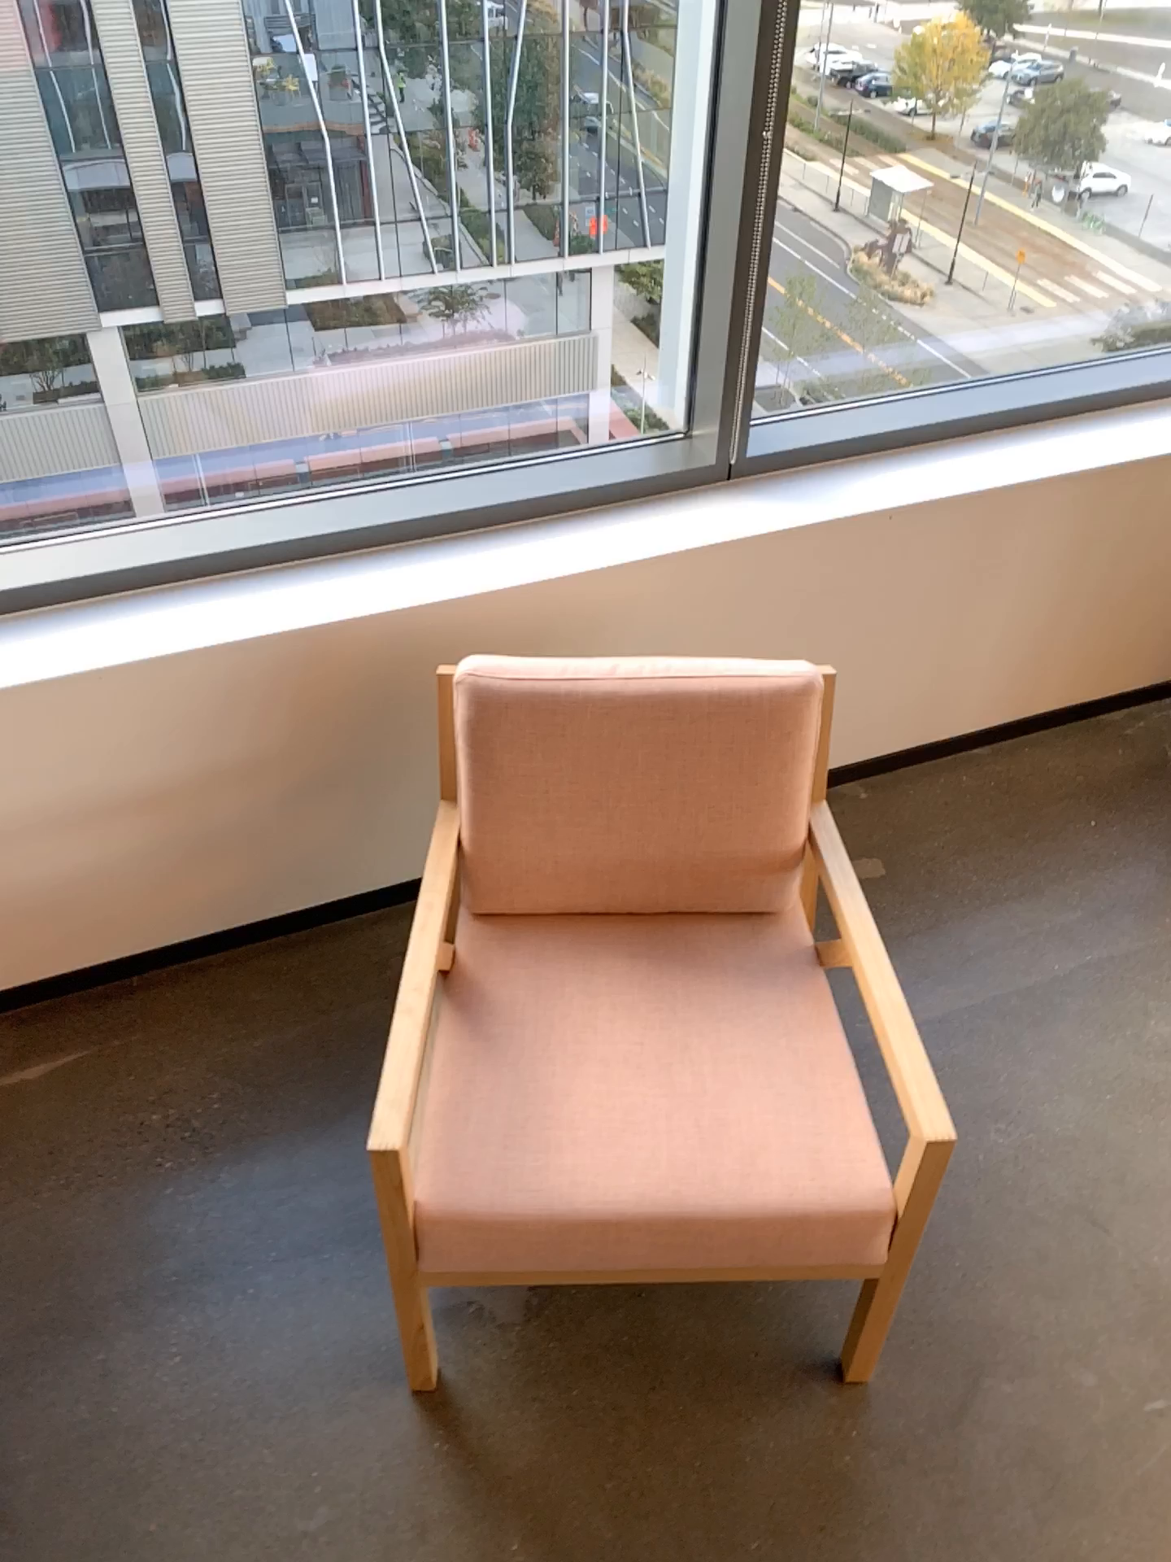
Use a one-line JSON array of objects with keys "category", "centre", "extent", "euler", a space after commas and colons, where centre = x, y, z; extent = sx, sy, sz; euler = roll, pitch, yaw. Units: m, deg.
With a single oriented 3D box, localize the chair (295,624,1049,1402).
[{"category": "chair", "centre": [0.077, 0.326, 1.719], "extent": [0.740, 0.796, 0.774], "euler": [0, 42, -1]}]
